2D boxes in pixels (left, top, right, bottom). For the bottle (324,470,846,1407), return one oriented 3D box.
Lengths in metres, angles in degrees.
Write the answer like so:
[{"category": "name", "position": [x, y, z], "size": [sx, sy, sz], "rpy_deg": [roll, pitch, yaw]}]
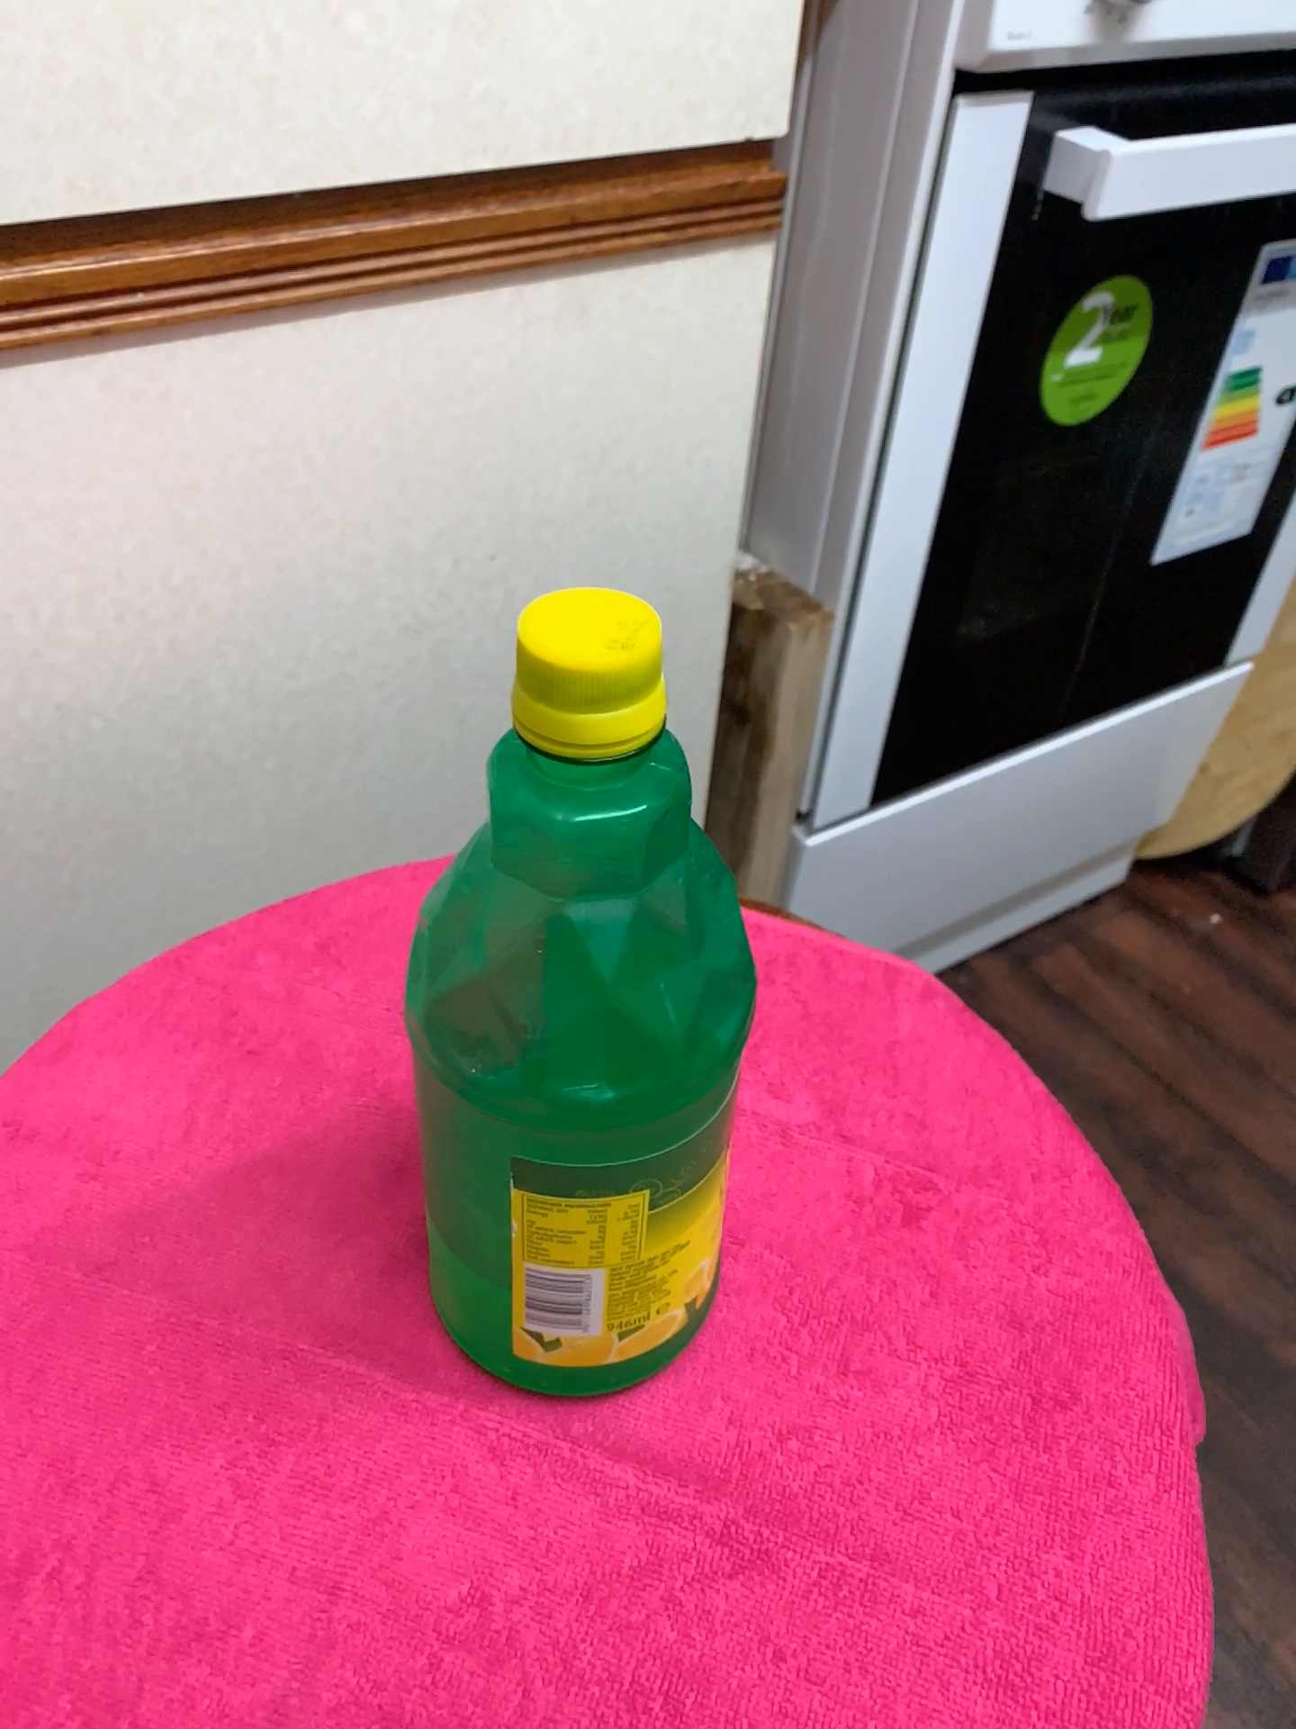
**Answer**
[{"category": "bottle", "position": [-0.017, 0.032, 0.343], "size": [0.090, 0.228, 0.101], "rpy_deg": [4, 41, -1]}]
